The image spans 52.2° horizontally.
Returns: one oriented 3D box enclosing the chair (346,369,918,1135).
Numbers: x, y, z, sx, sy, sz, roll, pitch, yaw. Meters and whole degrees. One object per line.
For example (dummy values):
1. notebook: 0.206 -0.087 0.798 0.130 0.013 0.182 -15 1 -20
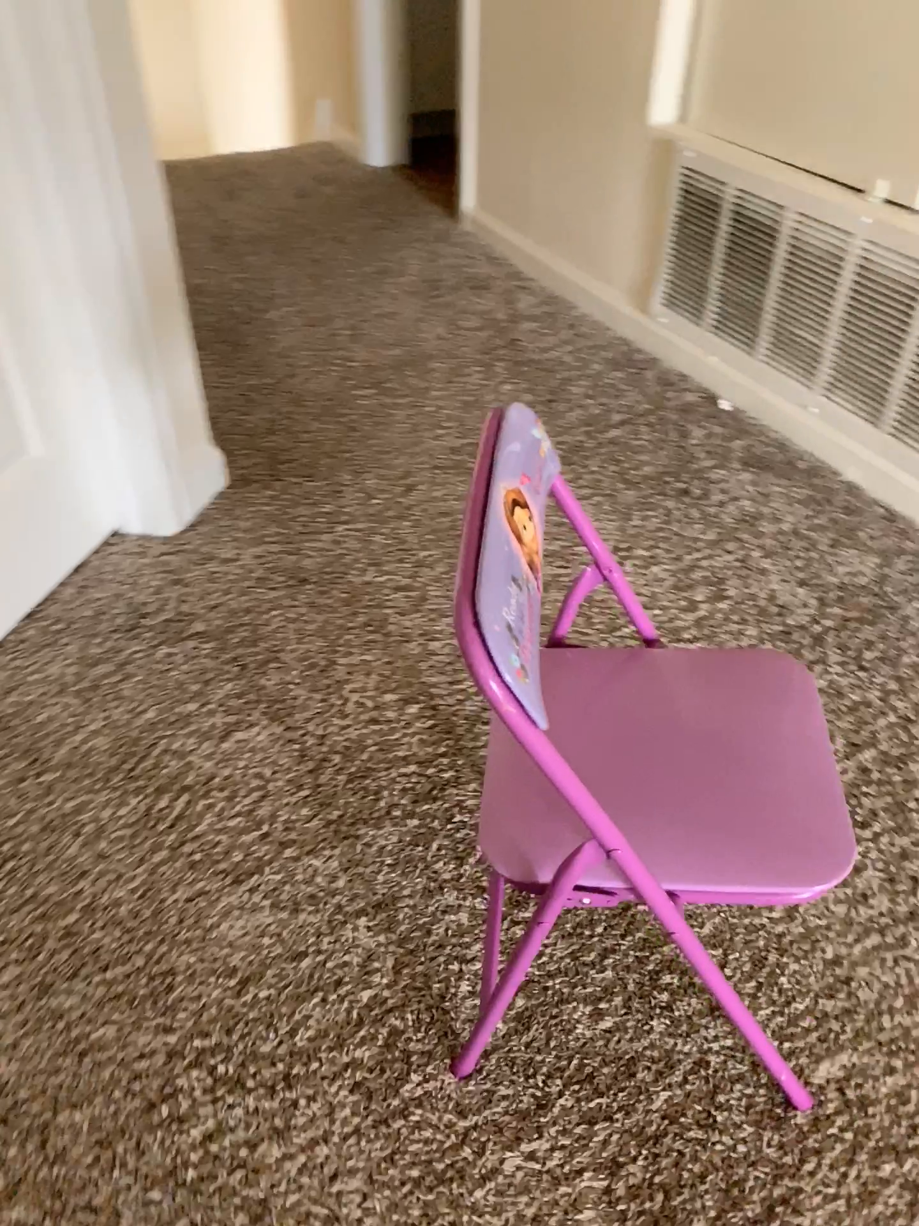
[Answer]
1. chair: 0.148 0.112 0.774 0.390 0.468 0.382 4 40 3
